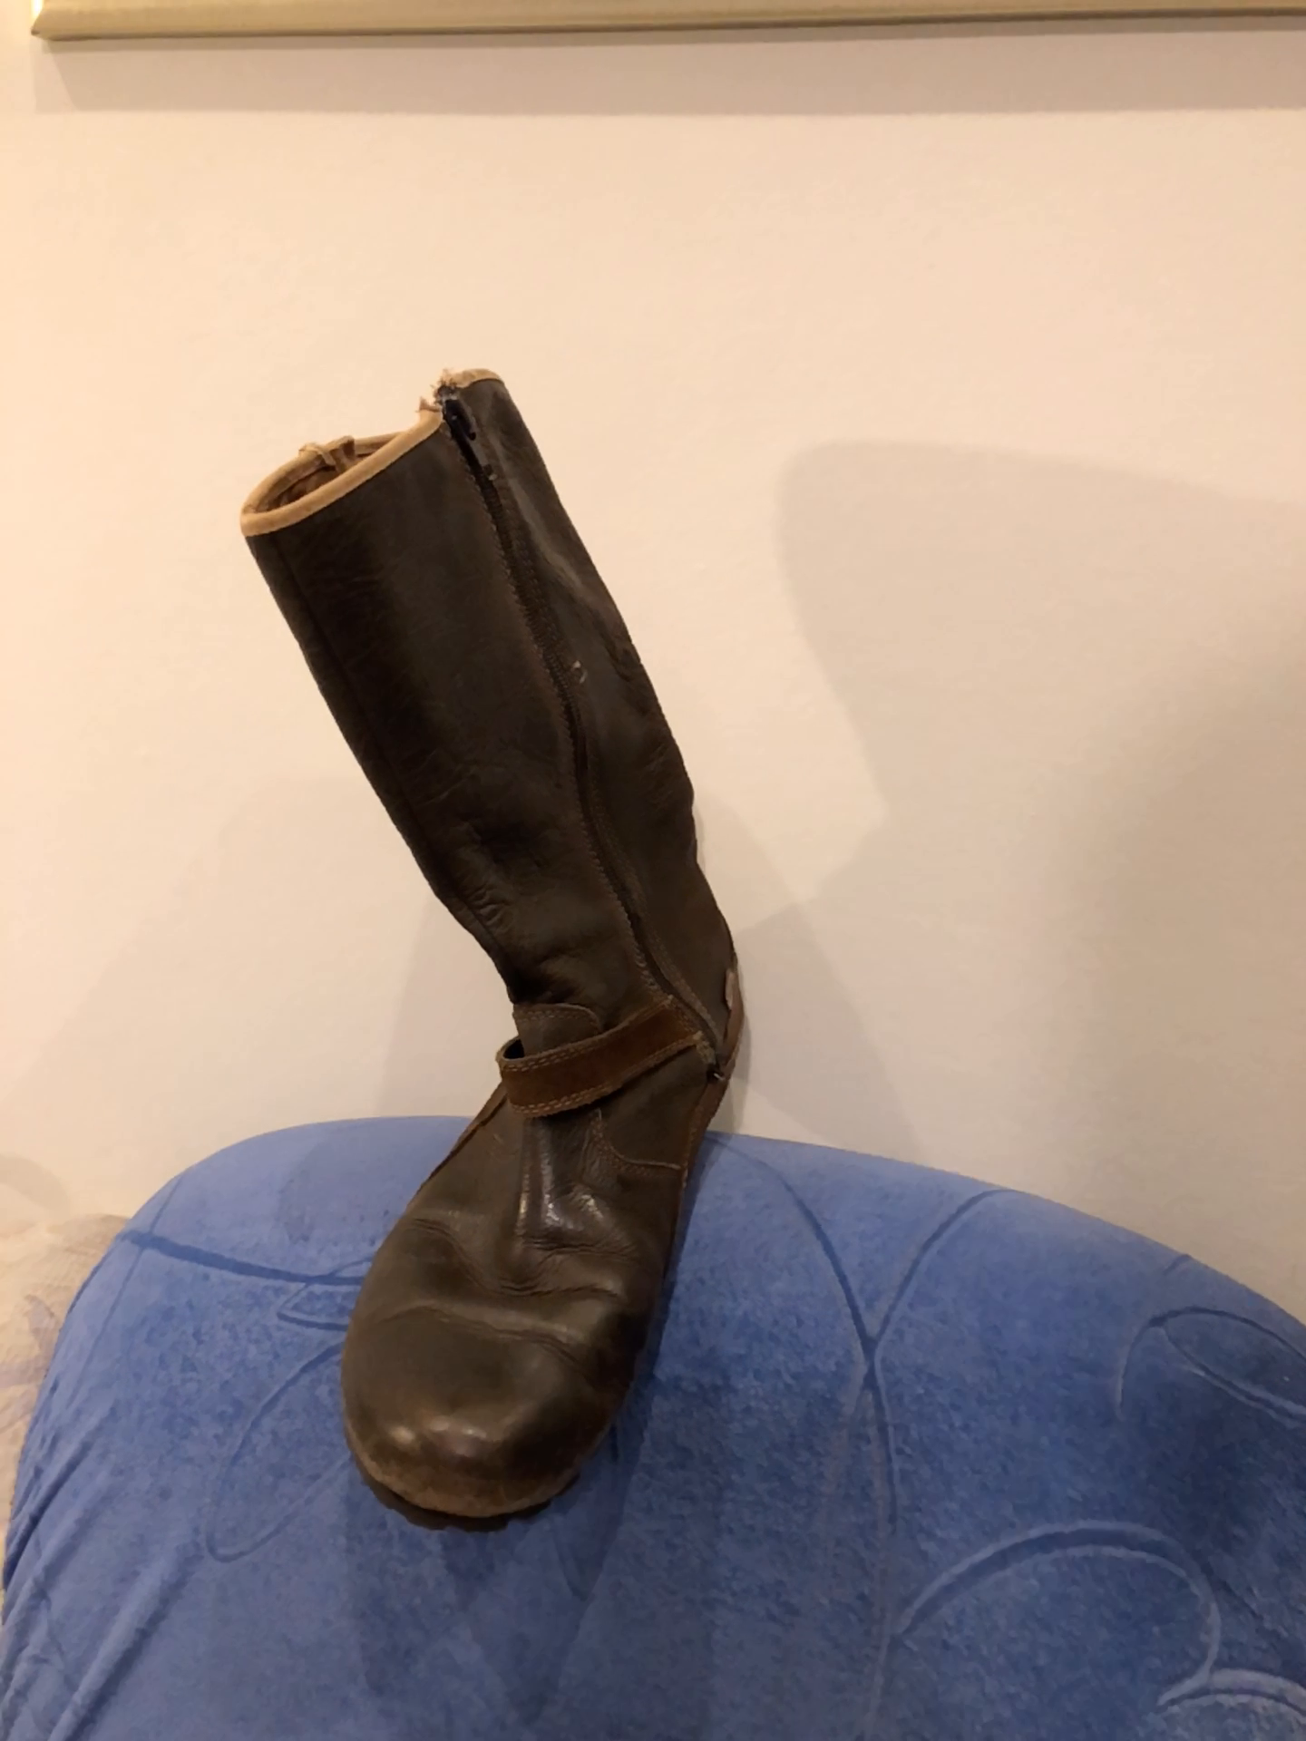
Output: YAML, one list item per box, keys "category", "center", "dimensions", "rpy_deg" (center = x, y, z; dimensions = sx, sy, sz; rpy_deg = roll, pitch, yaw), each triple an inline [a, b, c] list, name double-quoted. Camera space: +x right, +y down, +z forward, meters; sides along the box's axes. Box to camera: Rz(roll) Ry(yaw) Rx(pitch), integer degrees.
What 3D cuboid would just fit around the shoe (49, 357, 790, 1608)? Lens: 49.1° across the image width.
- category: "shoe"
  center: [-0.029, 0.017, 0.455]
  dimensions: [0.110, 0.278, 0.272]
  rpy_deg: [4, 35, 11]
